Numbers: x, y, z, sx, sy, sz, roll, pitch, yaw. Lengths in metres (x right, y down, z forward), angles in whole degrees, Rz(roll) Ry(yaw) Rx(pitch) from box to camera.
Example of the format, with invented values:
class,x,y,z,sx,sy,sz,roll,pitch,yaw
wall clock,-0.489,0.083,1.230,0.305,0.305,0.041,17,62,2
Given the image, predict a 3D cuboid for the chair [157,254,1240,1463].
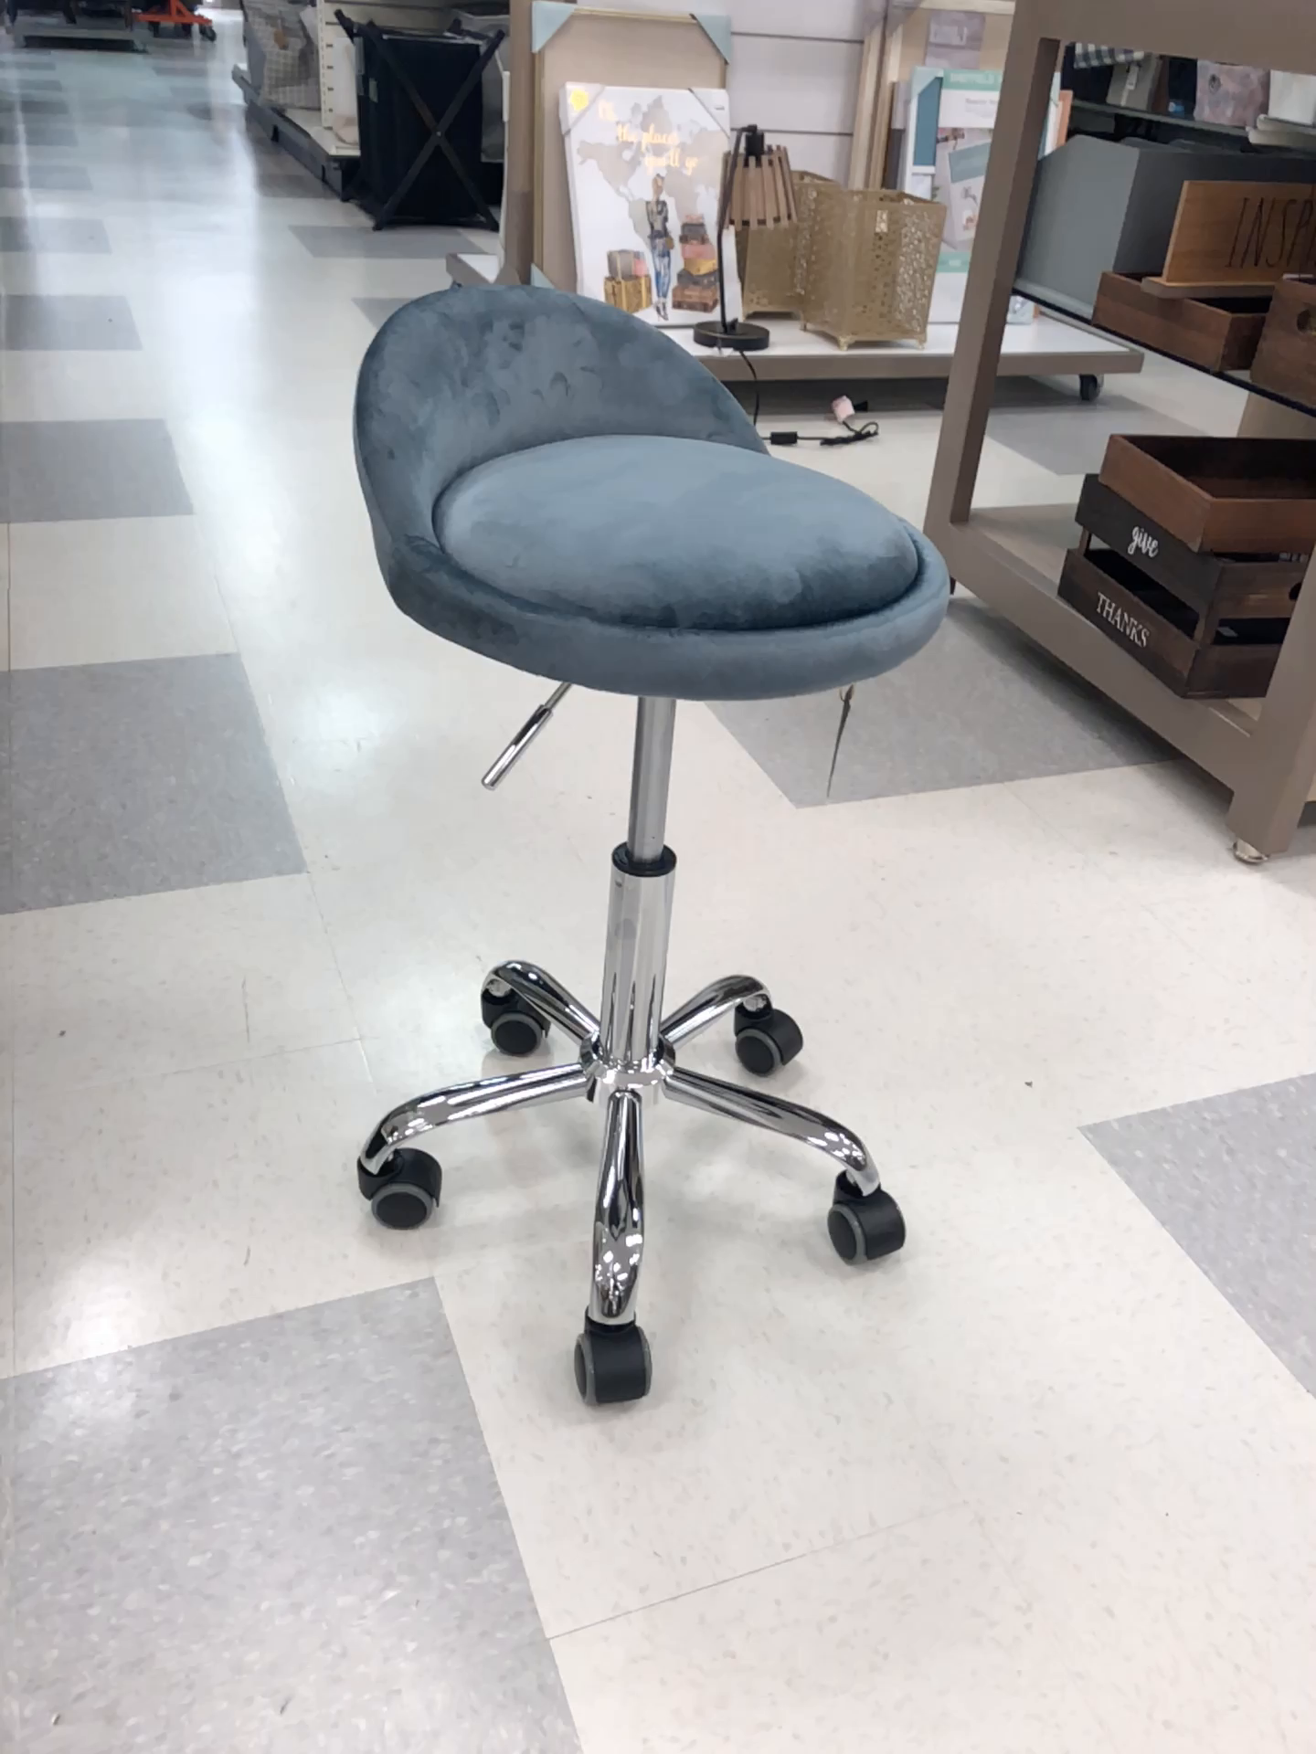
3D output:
class,x,y,z,sx,sy,sz,roll,pitch,yaw
chair,-0.001,-0.065,1.061,0.476,0.629,0.484,-22,41,-36
